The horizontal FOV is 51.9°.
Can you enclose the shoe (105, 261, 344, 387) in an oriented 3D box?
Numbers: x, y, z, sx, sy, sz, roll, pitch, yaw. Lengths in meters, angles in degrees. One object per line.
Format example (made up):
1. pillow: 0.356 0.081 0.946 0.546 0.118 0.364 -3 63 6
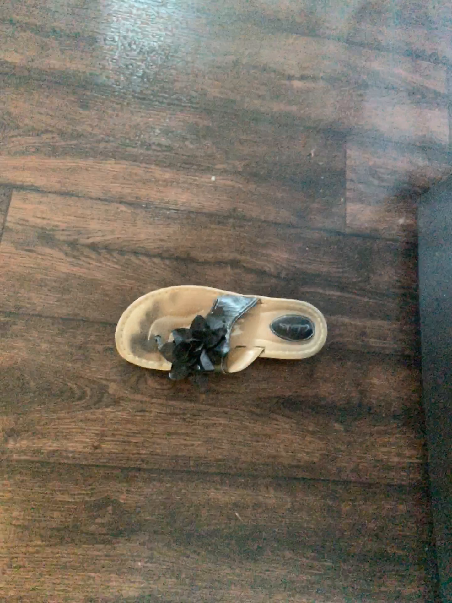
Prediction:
1. shoe: 0.003 0.028 0.517 0.250 0.050 0.110 6 75 -7
